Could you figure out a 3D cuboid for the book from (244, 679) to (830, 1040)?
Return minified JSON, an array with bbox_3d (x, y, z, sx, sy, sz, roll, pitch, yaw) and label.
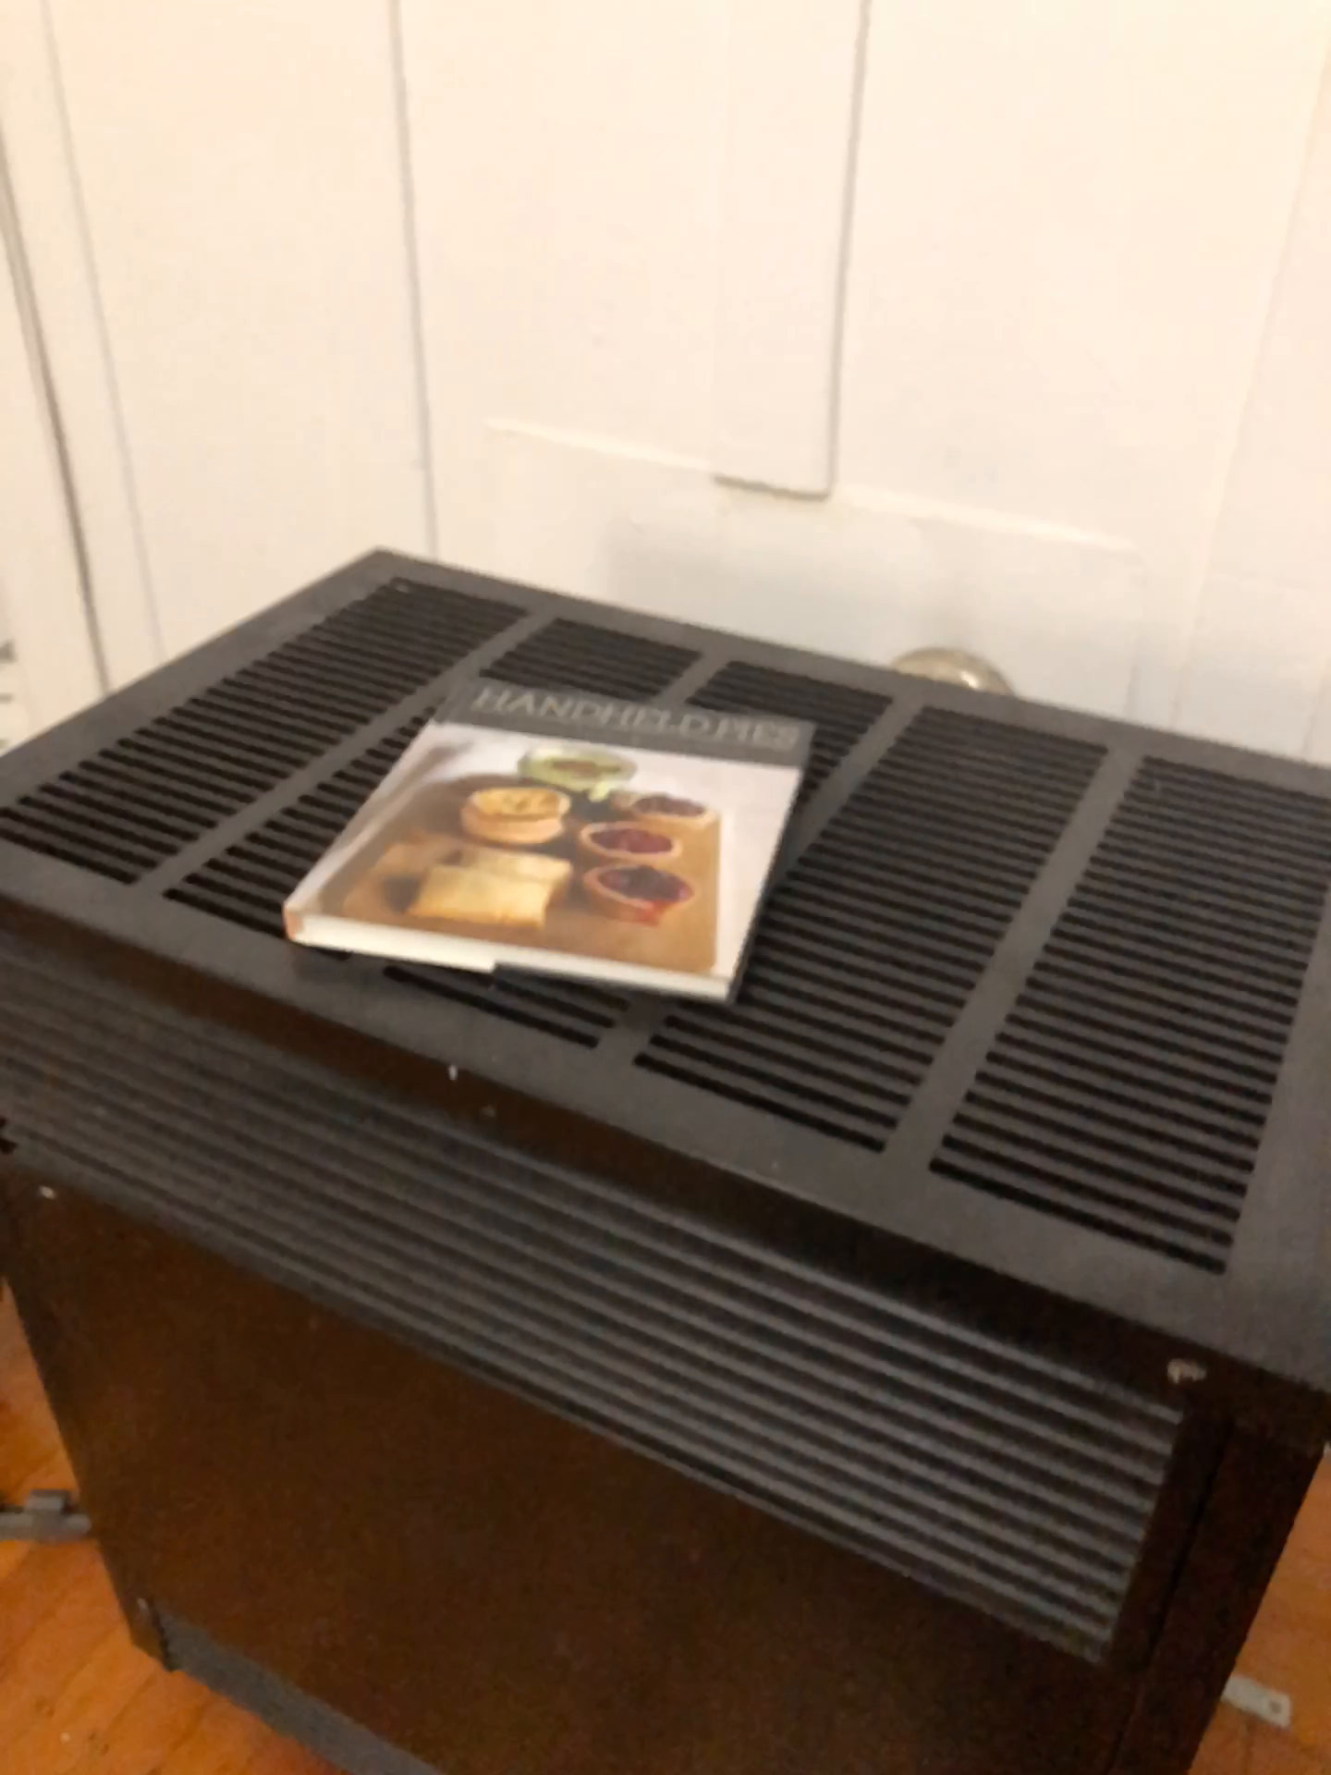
[{"bbox_3d":[-0.043,-0.026,0.664,0.200,0.020,0.231,7,34,11],"label":"book"}]
